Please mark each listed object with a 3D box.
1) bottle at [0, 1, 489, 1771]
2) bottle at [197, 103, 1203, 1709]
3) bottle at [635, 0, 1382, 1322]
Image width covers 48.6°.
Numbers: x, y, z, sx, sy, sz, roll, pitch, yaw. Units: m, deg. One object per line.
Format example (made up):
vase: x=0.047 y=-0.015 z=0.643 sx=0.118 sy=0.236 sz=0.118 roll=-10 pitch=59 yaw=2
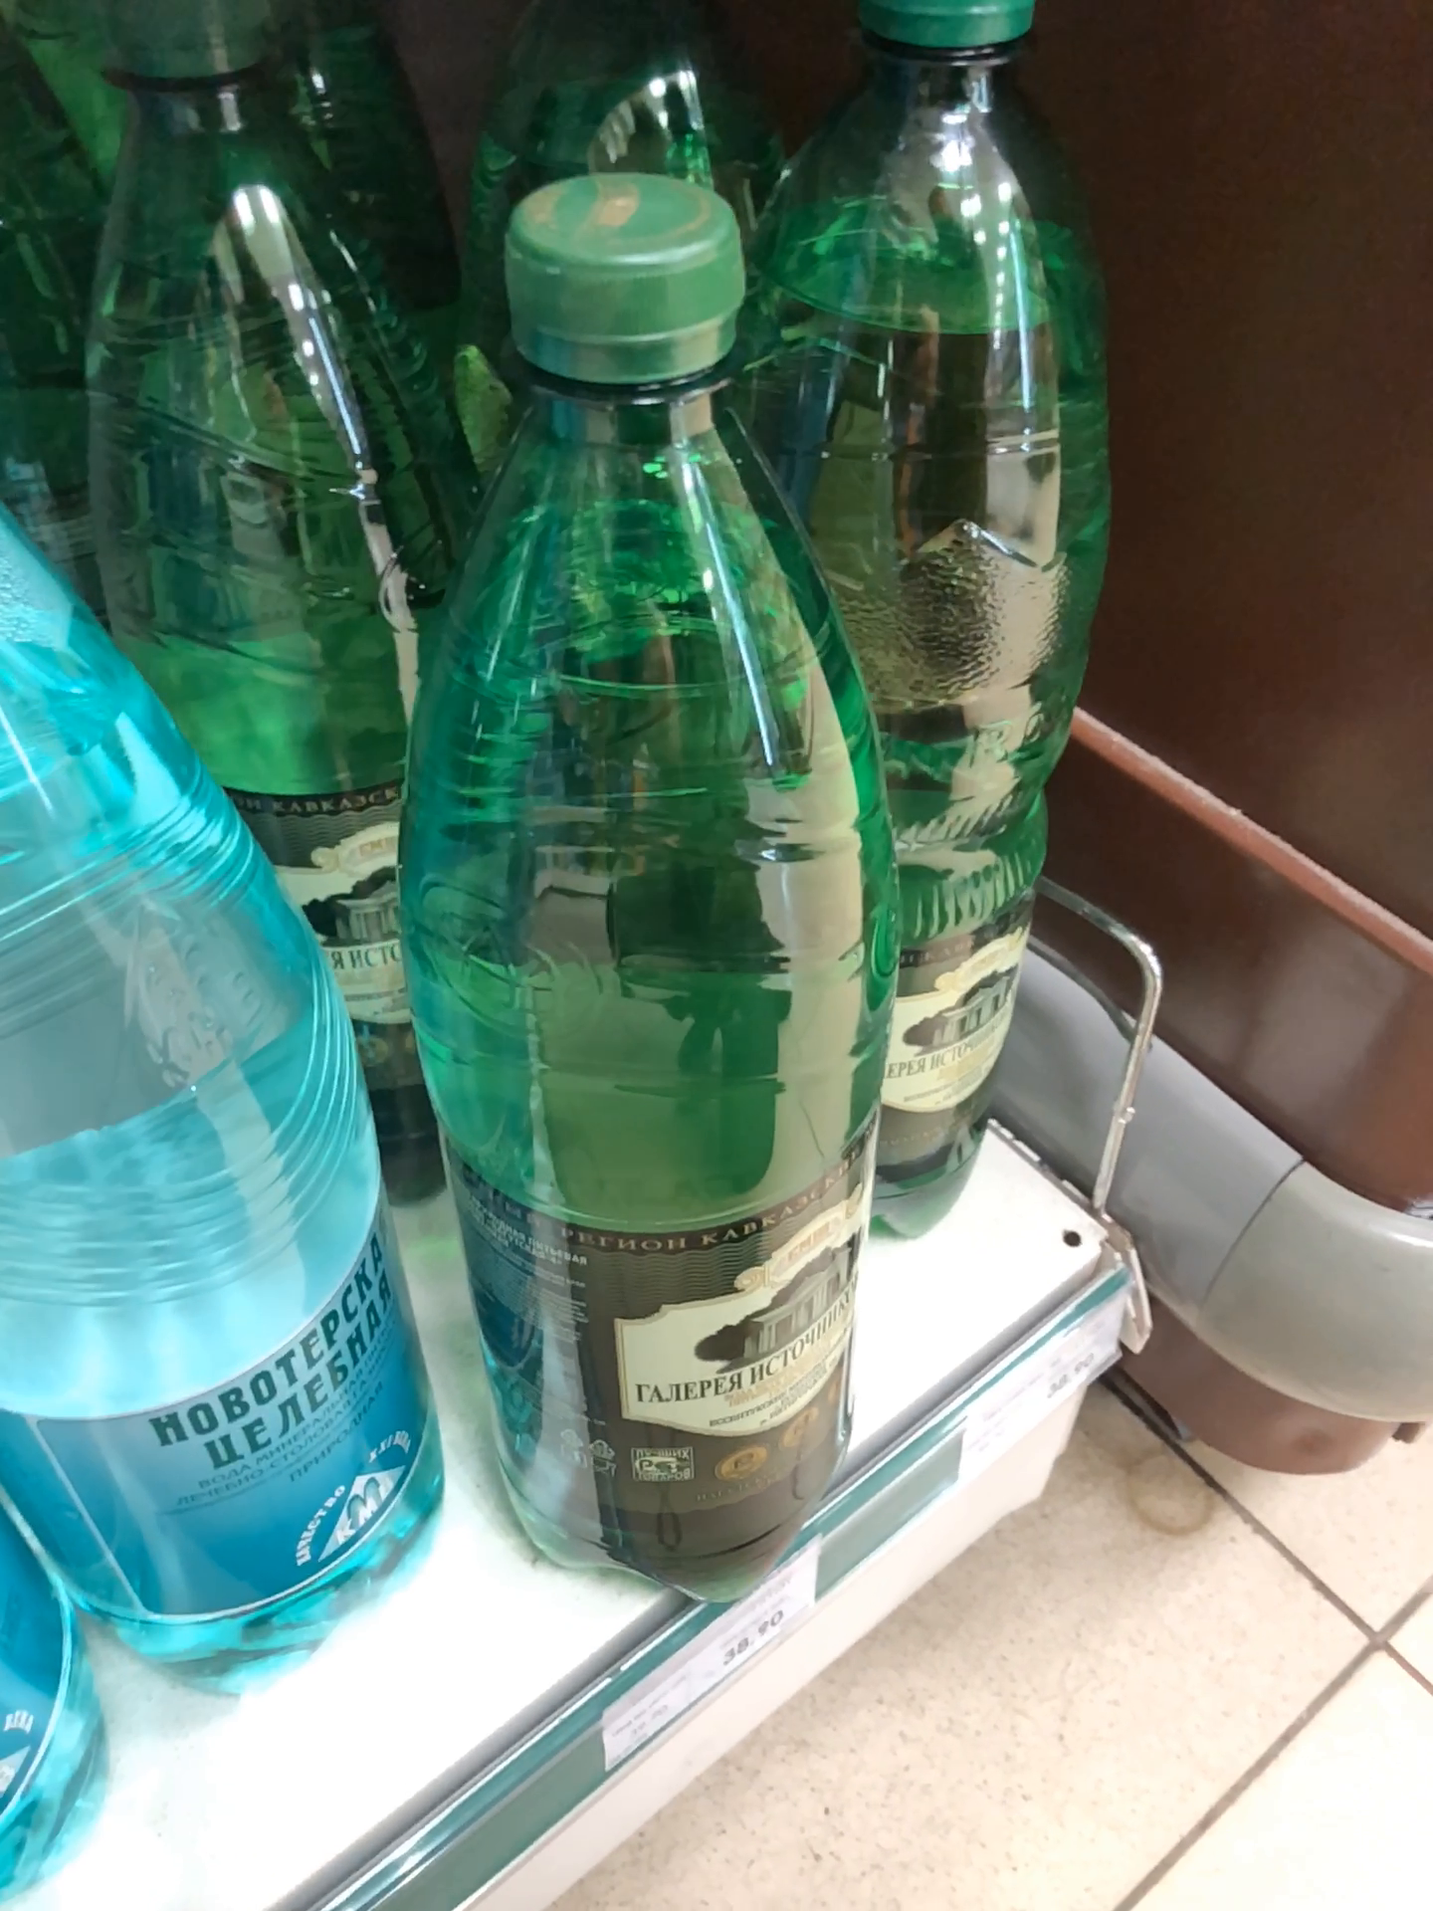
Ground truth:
bottle: x=-0.107 y=0.029 z=0.284 sx=0.084 sy=0.326 sz=0.076 roll=2 pitch=45 yaw=-2
bottle: x=-0.009 y=0.023 z=0.307 sx=0.091 sy=0.308 sz=0.088 roll=2 pitch=45 yaw=-2
bottle: x=0.042 y=-0.055 z=0.376 sx=0.091 sy=0.326 sz=0.082 roll=-29 pitch=53 yaw=-28
